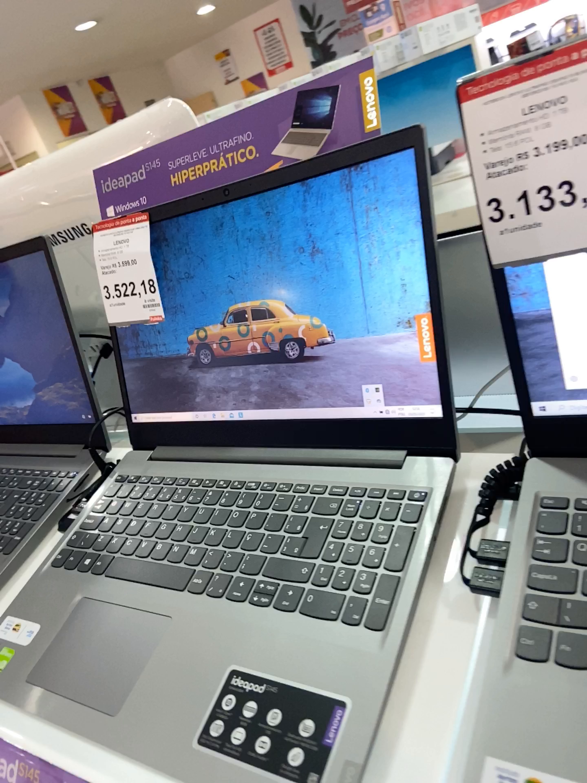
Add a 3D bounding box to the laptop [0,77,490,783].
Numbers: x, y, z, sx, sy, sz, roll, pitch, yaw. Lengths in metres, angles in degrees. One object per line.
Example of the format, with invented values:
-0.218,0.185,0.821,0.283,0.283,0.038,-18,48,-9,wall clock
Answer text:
-0.088,0.002,0.446,0.347,0.209,0.365,-4,36,35,laptop
